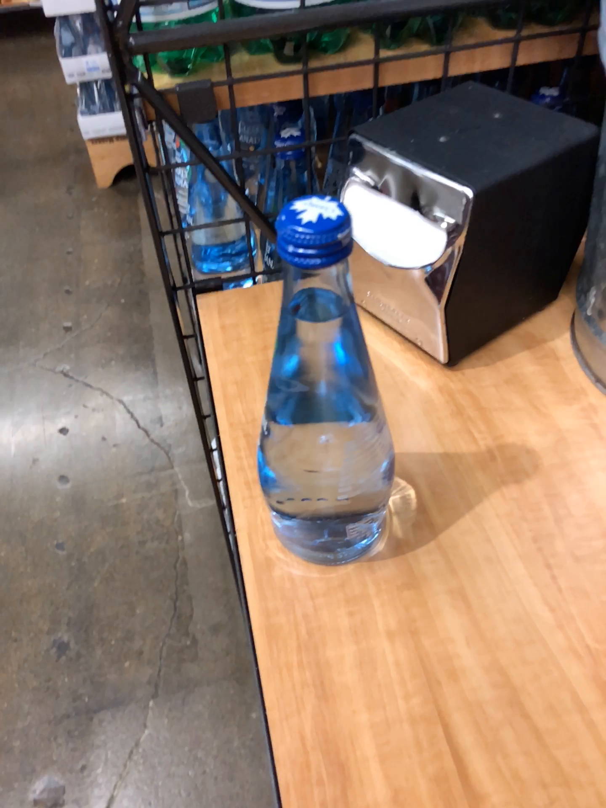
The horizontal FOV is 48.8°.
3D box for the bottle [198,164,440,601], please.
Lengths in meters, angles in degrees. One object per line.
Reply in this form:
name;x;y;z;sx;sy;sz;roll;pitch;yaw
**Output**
bottle;0.011;0.004;0.293;0.060;0.189;0.060;-2;46;2
